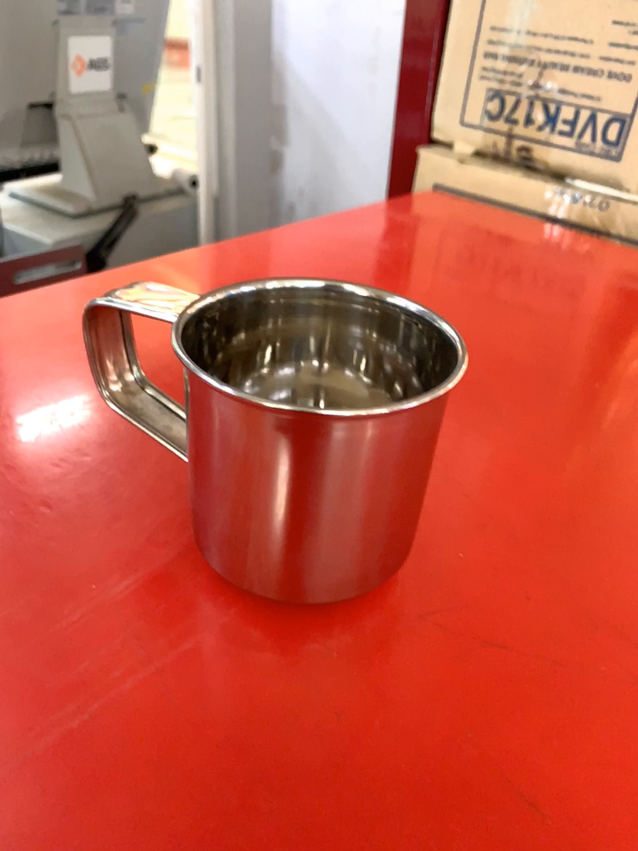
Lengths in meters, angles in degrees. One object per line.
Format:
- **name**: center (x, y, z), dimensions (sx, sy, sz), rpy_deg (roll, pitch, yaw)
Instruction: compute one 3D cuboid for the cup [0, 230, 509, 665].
- **cup**: center (-0.015, -0.004, 0.196), dimensions (0.109, 0.065, 0.080), rpy_deg (19, 36, 21)
